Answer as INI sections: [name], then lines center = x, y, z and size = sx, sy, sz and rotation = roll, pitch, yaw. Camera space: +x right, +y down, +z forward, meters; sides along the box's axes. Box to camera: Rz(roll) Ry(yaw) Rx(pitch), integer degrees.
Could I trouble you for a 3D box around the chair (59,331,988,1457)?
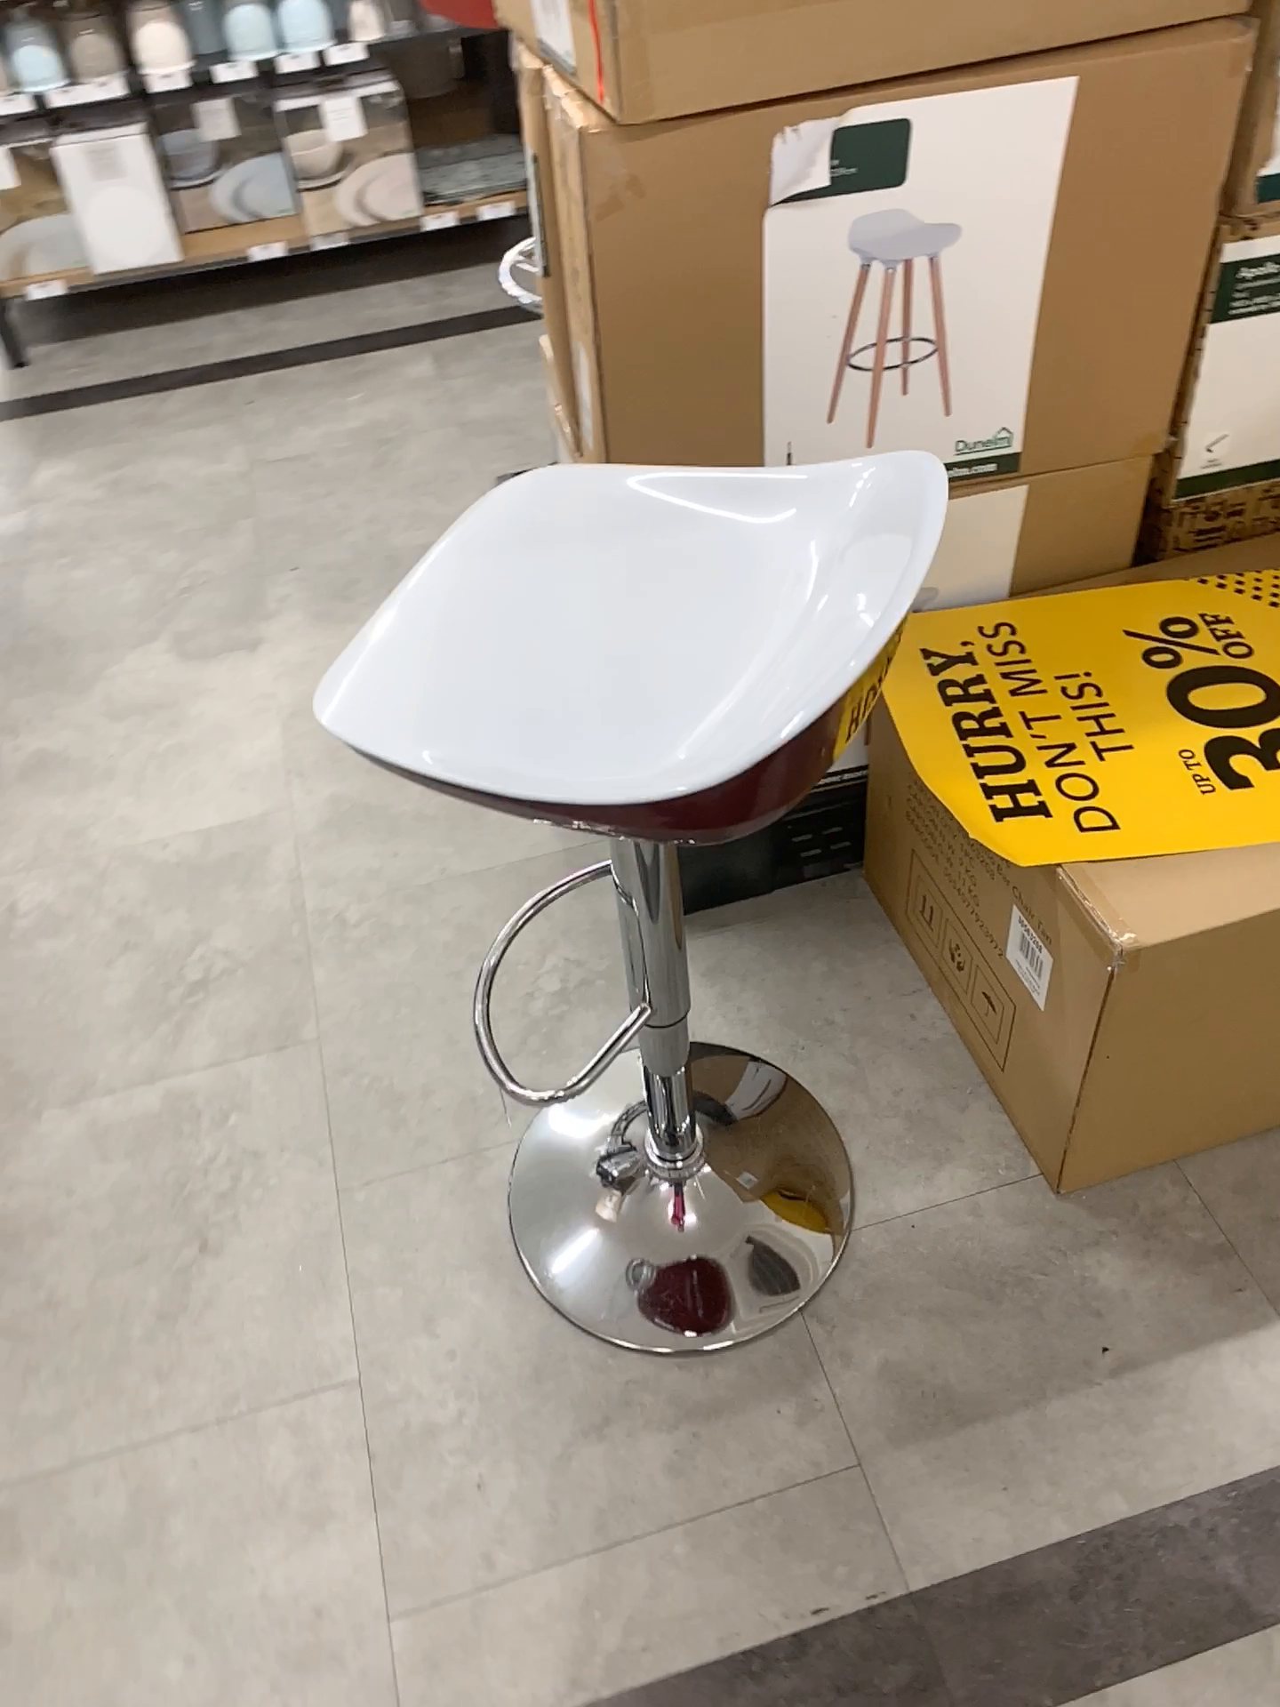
[chair]
center = -0.013, 0.062, 1.101
size = 0.453, 0.797, 0.447
rotation = 11, 47, 17
